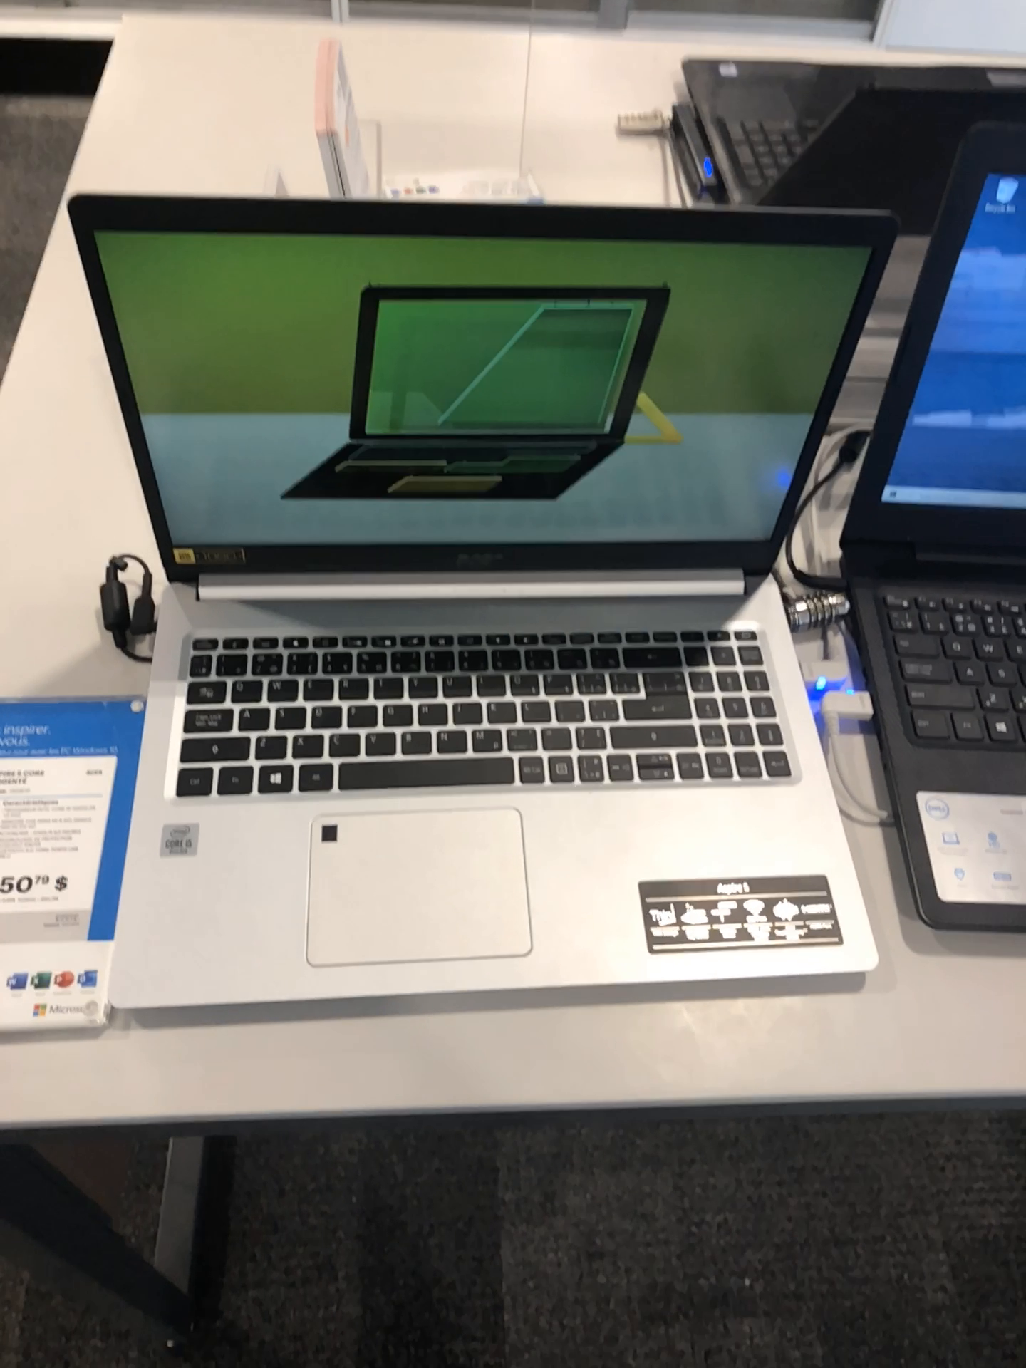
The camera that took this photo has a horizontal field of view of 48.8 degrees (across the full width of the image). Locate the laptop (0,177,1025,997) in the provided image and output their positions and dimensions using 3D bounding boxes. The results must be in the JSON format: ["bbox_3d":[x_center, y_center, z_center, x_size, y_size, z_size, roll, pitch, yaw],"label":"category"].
[{"bbox_3d":[-0.009,-0.040,0.508,0.349,0.229,0.267,-1,55,-4],"label":"laptop"}]
